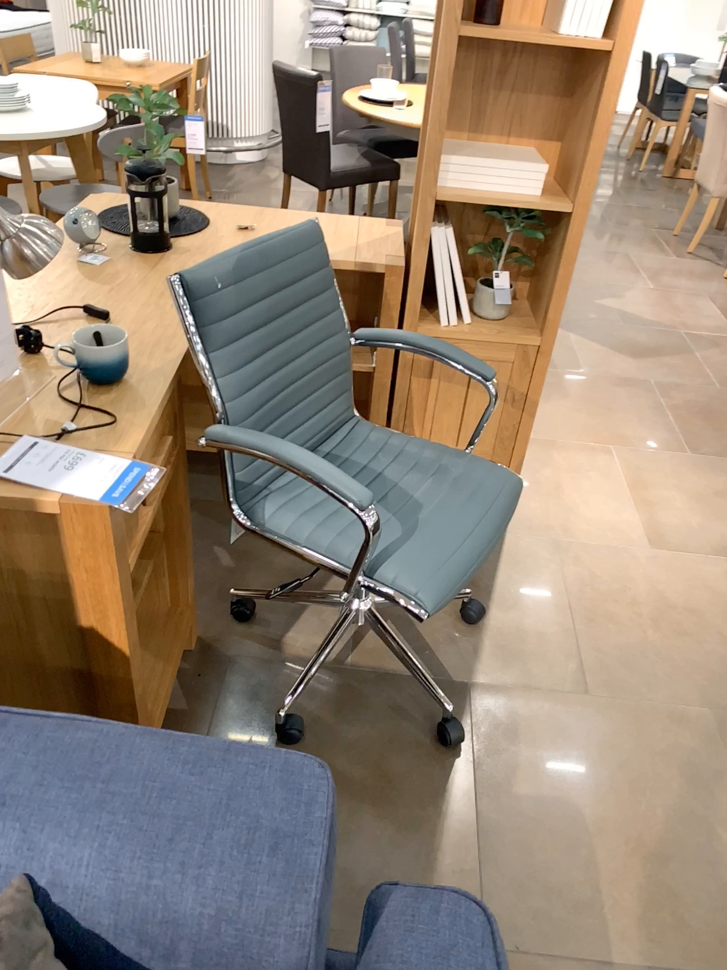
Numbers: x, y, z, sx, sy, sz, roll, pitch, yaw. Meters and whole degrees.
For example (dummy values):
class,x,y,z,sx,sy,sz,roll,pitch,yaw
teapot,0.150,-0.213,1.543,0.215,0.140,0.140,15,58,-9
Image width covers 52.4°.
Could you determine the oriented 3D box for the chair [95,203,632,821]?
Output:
class,x,y,z,sx,sy,sz,roll,pitch,yaw
chair,0.004,0.006,1.546,0.708,0.883,0.669,22,38,21
